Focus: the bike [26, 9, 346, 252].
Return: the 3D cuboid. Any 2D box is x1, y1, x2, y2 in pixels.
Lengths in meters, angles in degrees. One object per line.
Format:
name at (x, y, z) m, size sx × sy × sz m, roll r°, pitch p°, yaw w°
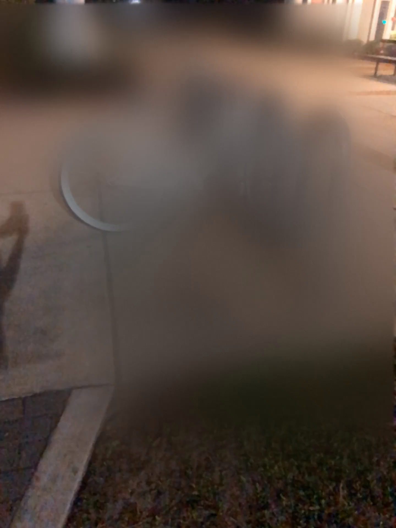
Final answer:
bike at (-0.031, -0.915, 2.790) m, size 1.678 × 1.094 × 0.744 m, roll -10°, pitch 30°, yaw -12°
